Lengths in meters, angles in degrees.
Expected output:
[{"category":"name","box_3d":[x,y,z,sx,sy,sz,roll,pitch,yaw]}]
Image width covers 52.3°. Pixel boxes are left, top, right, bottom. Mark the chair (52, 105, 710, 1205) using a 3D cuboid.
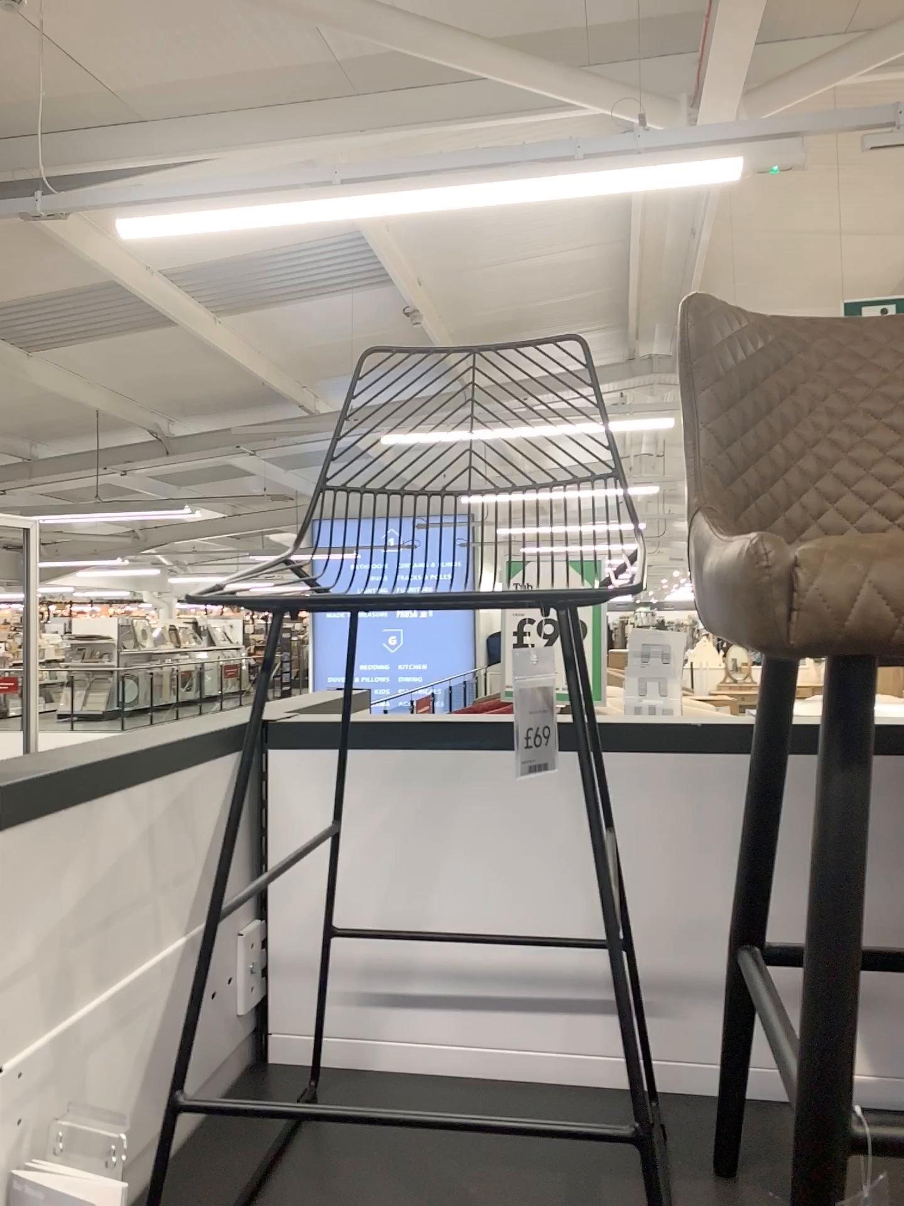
[{"category":"chair","box_3d":[-0.030,0.116,0.974,0.504,0.965,0.529,-1,-3,10]}]
